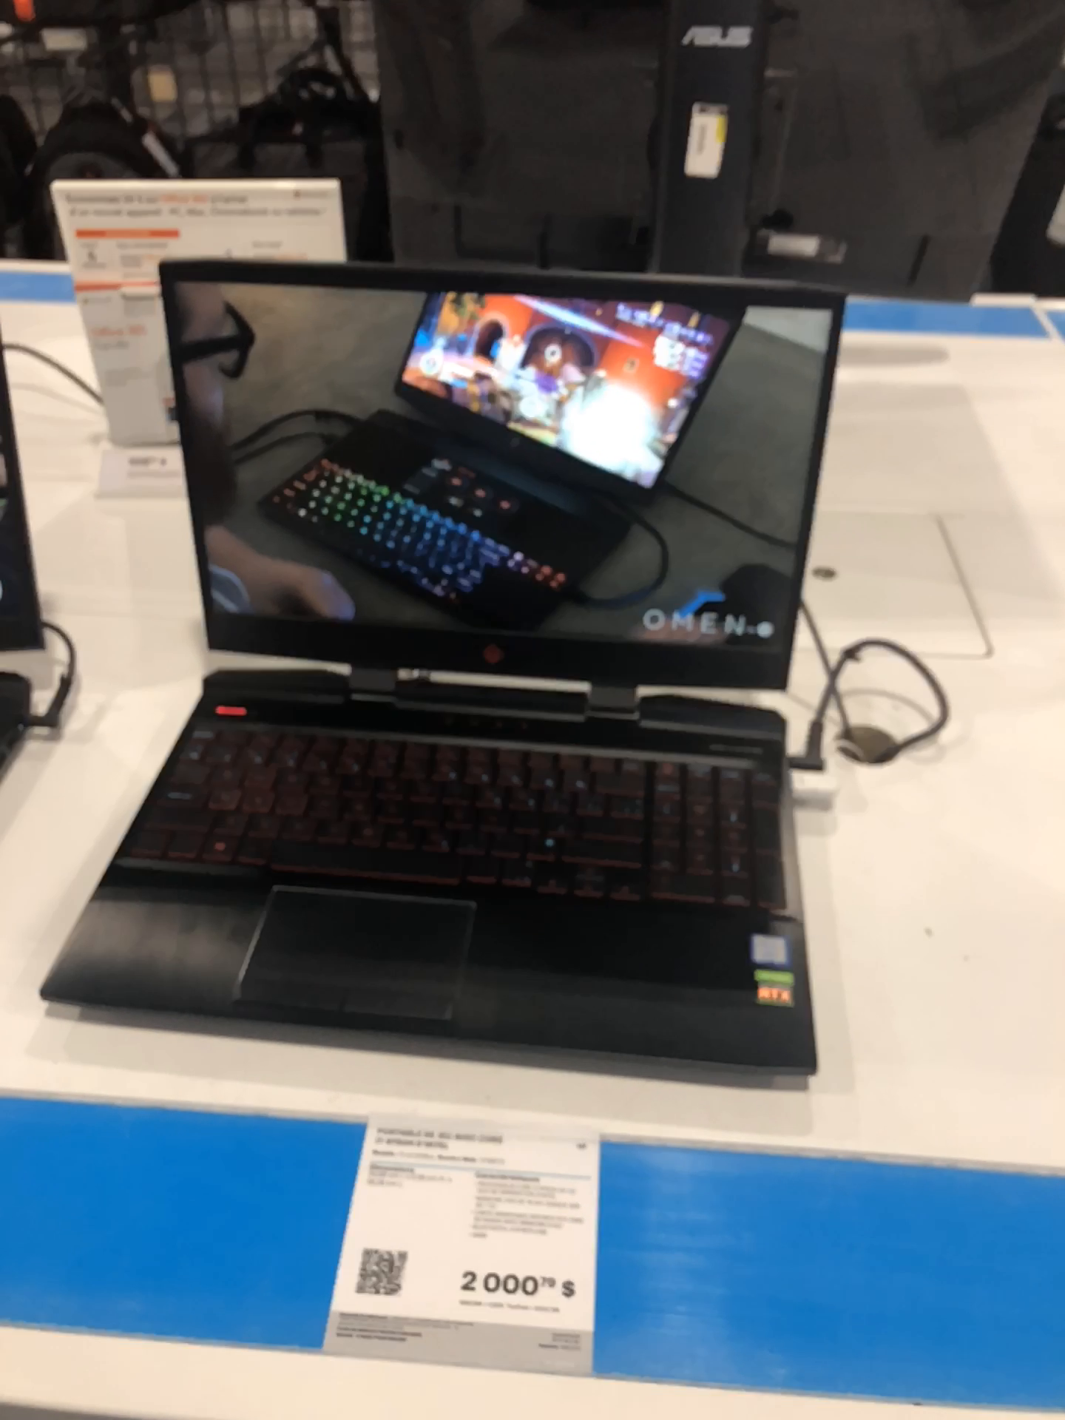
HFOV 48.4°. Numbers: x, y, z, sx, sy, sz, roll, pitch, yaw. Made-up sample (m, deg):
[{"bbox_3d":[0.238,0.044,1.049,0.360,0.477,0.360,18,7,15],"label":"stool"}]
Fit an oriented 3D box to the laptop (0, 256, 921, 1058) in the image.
[{"bbox_3d":[-0.034,-0.044,0.585,0.355,0.239,0.294,4,39,4],"label":"laptop"}]
